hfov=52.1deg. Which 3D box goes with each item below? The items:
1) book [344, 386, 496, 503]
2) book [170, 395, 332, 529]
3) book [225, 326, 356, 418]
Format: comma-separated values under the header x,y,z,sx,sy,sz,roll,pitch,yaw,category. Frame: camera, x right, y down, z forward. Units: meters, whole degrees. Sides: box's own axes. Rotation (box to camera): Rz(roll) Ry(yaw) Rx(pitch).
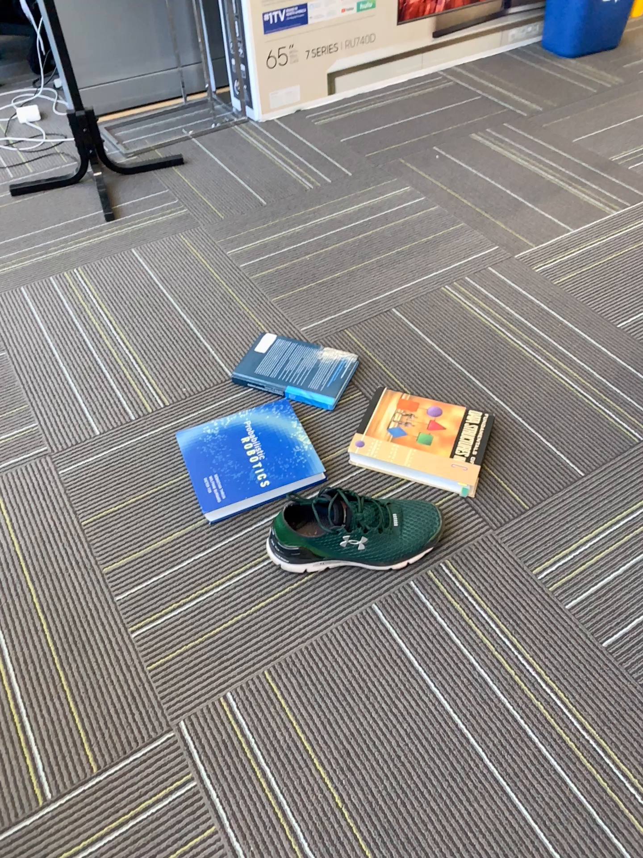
x,y,z,sx,sy,sz,roll,pitch,yaw,category
0.188,0.023,1.246,0.242,0.040,0.185,15,50,15,book
-0.134,0.054,1.222,0.242,0.040,0.205,-19,50,-14,book
-0.067,-0.135,1.506,0.247,0.040,0.177,18,51,13,book
